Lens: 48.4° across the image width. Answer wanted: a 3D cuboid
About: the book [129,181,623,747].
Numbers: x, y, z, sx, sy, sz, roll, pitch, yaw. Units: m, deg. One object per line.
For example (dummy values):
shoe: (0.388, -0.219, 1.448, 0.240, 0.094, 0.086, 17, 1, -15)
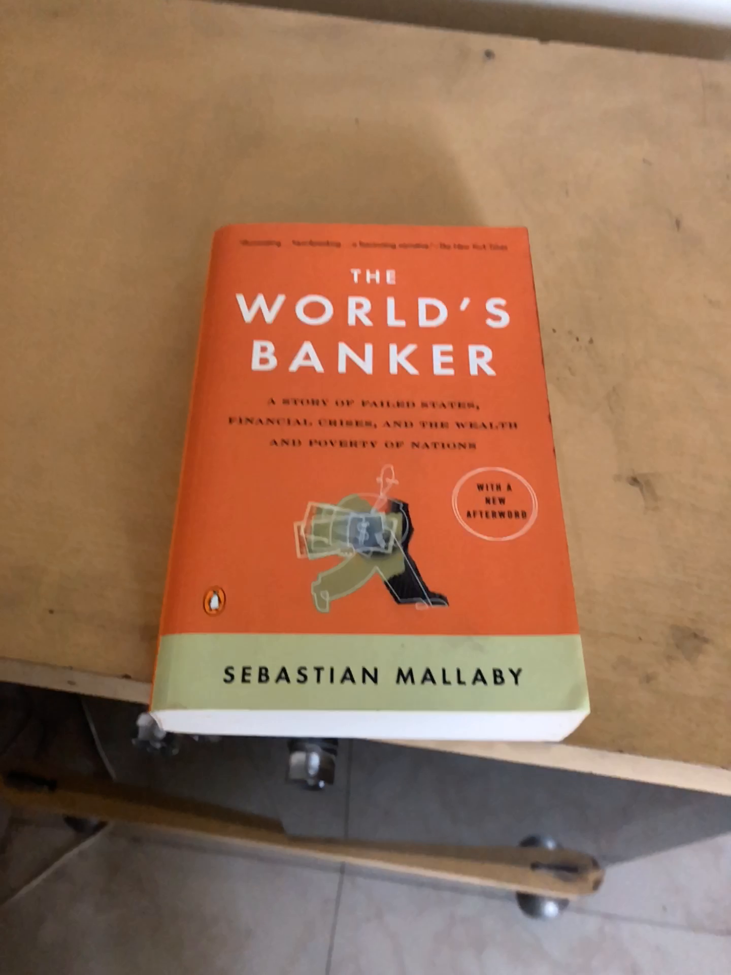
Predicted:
book: (0.005, -0.023, 0.298, 0.140, 0.030, 0.221, 2, 60, -1)
